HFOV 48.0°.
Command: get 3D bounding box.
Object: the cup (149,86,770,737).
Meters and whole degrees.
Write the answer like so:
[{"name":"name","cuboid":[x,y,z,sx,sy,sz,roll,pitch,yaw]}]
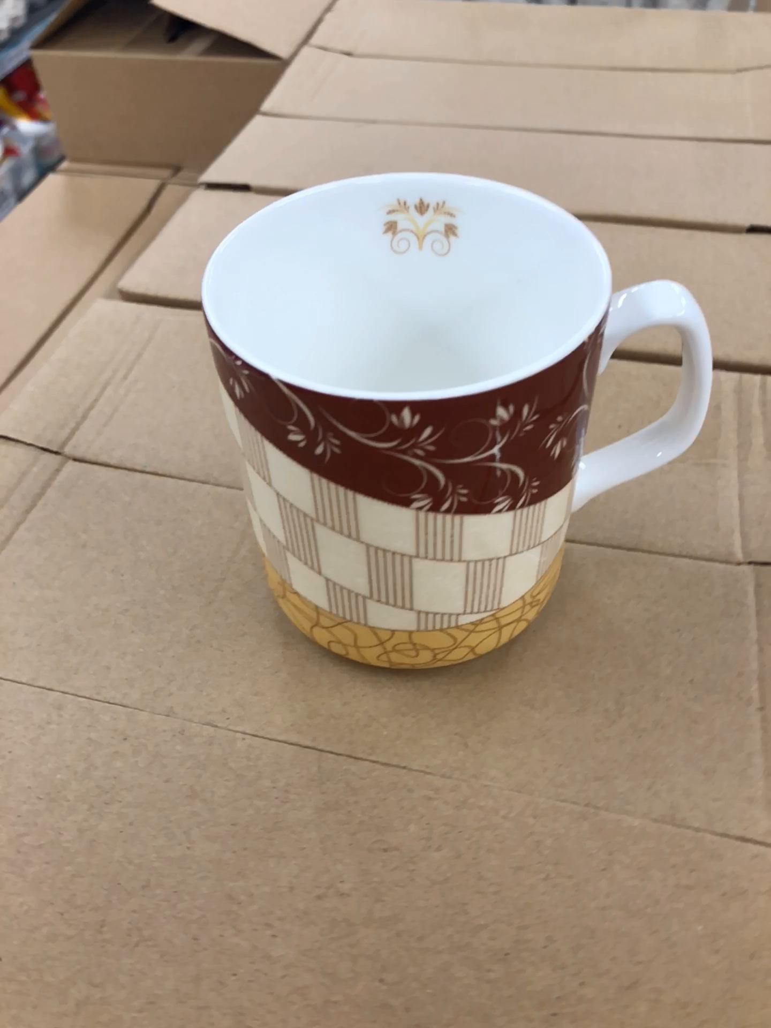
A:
[{"name":"cup","cuboid":[0.017,-0.020,0.166,0.100,0.080,0.070,-12,48,-7]}]
